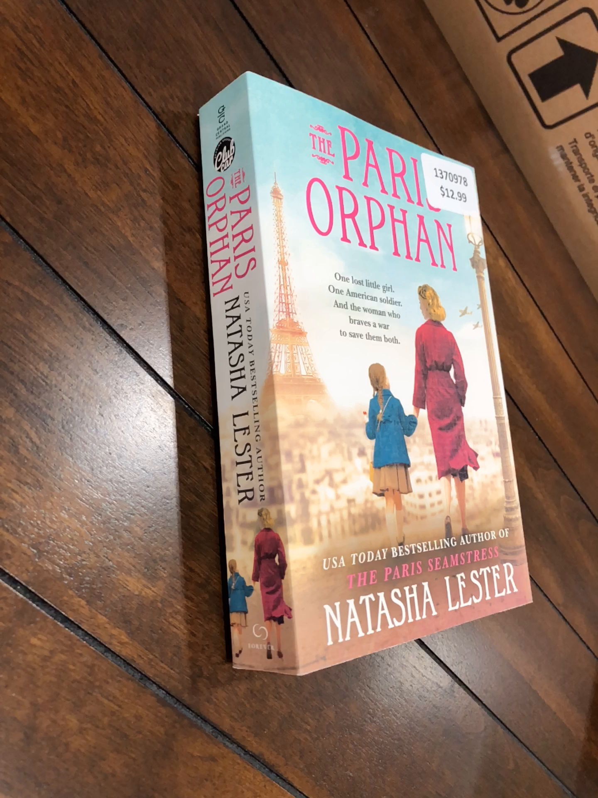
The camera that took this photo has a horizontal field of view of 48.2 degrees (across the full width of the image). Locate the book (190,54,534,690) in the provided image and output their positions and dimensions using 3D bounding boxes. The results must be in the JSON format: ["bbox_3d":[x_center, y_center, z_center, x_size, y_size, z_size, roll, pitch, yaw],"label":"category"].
[{"bbox_3d":[0.029,-0.009,0.261,0.135,0.035,0.198,4,78,-40],"label":"book"}]
